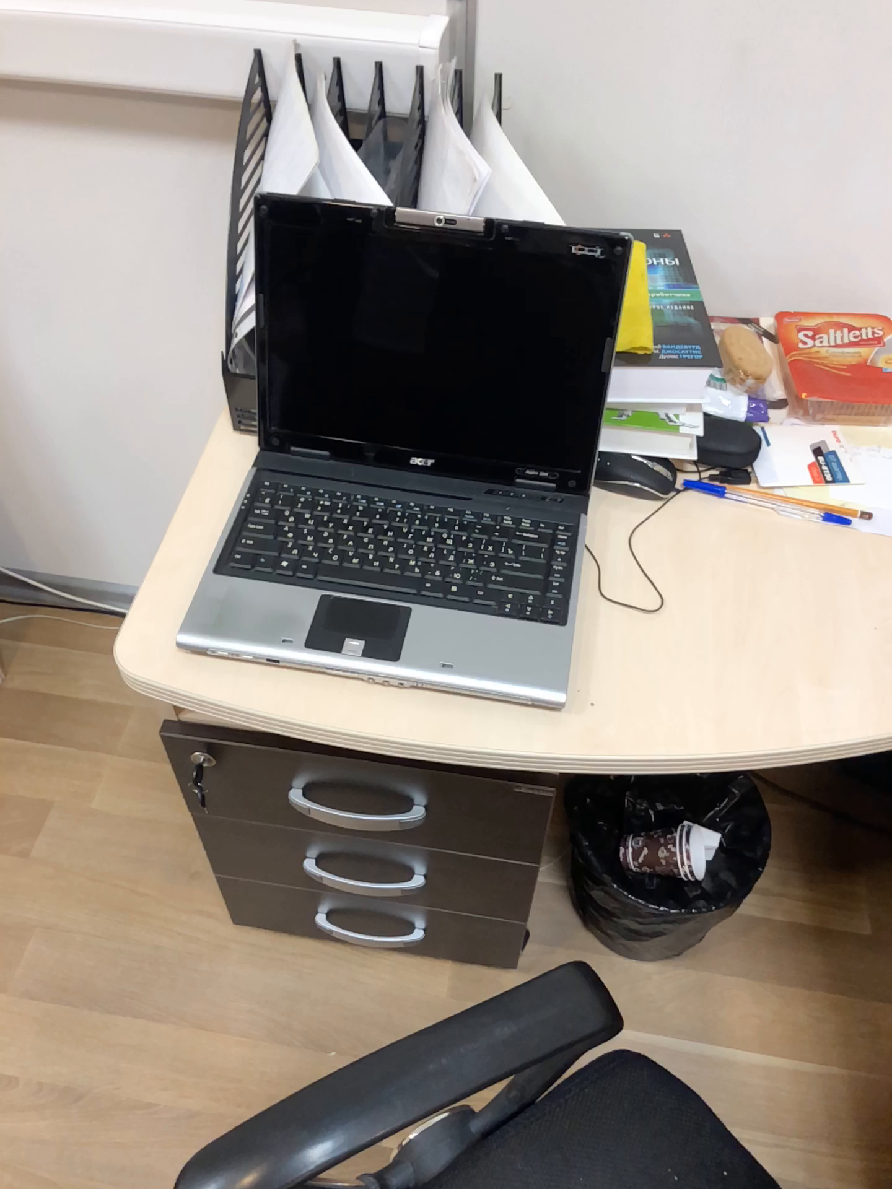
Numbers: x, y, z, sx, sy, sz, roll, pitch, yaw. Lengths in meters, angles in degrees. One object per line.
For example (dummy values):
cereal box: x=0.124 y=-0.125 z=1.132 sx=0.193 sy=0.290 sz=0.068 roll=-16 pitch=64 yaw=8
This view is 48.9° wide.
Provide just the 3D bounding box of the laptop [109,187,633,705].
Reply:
laptop: x=-0.035 y=-0.132 z=0.813 sx=0.325 sy=0.219 sz=0.325 roll=8 pitch=52 yaw=6
